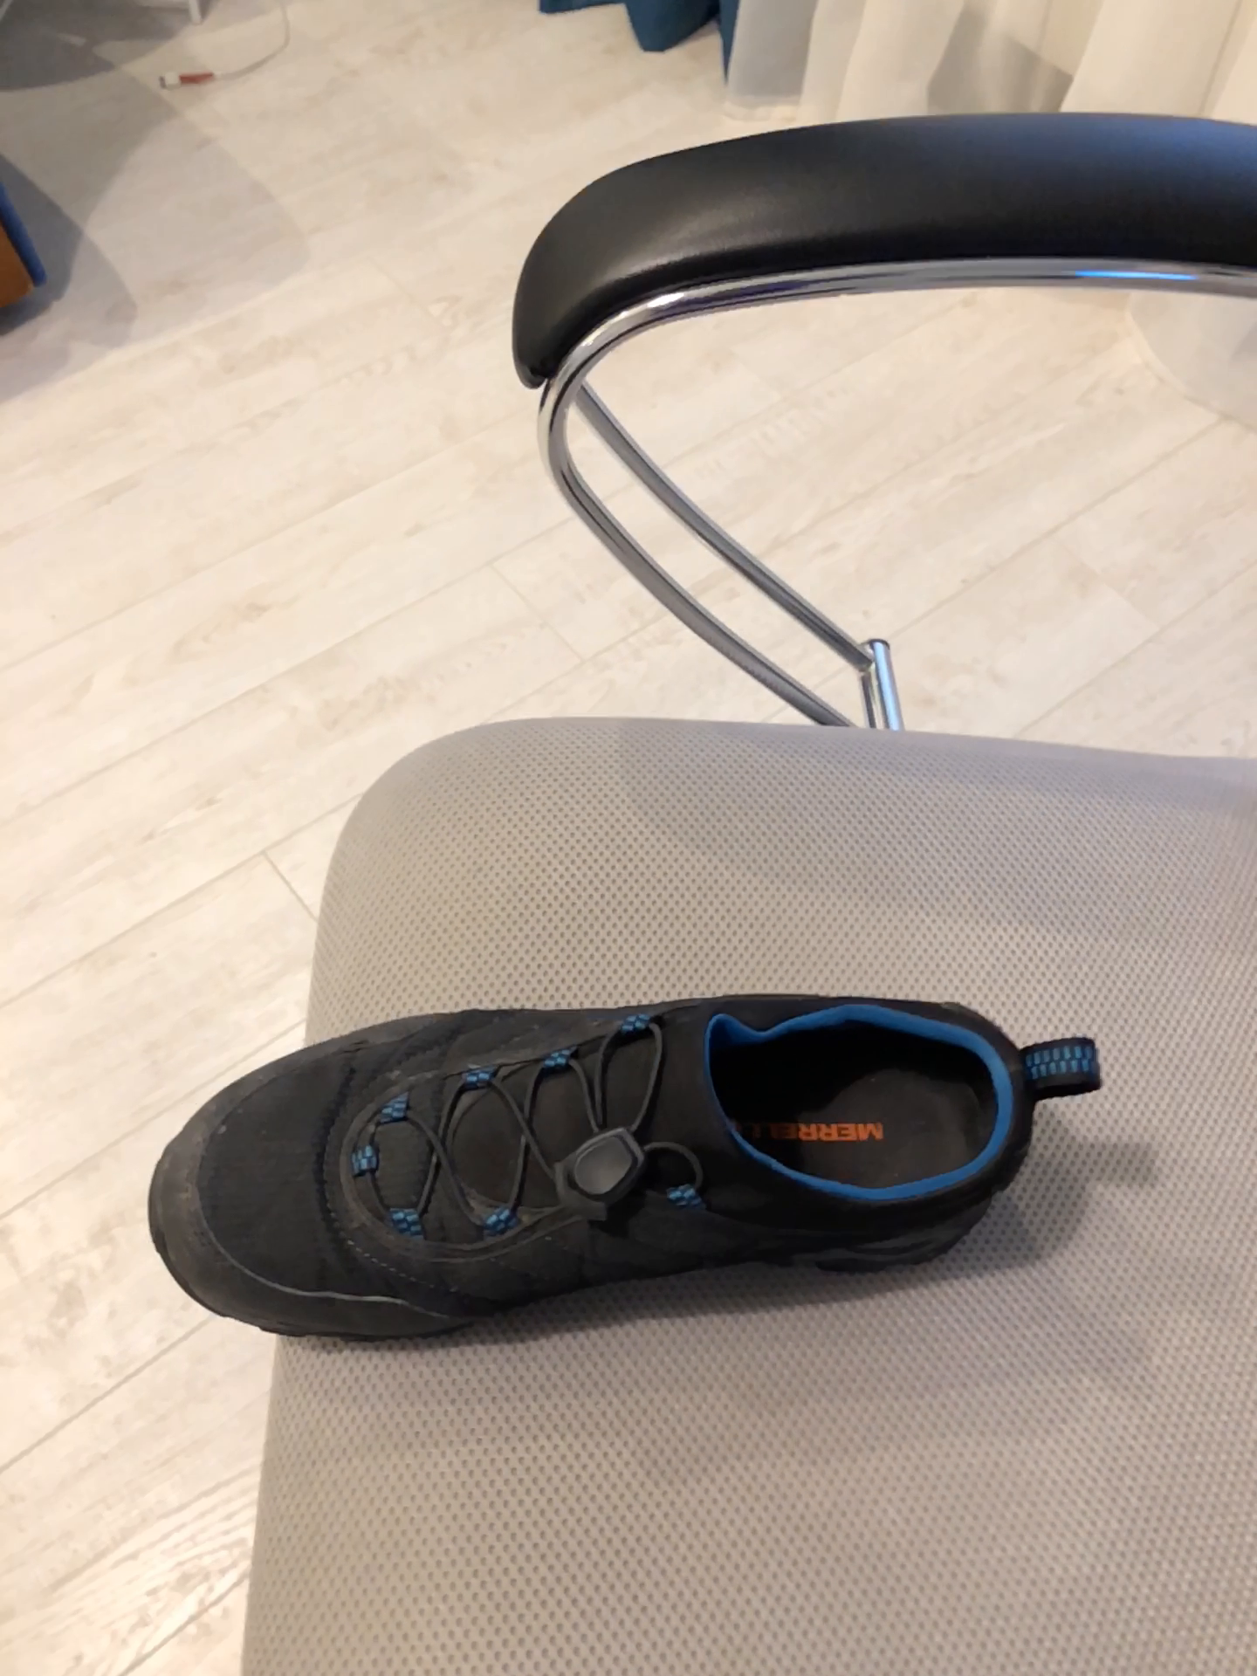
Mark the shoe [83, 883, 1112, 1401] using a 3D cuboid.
[{"bbox_3d":[-0.012,0.106,0.482,0.300,0.109,0.129,-3,58,-5],"label":"shoe"}]
